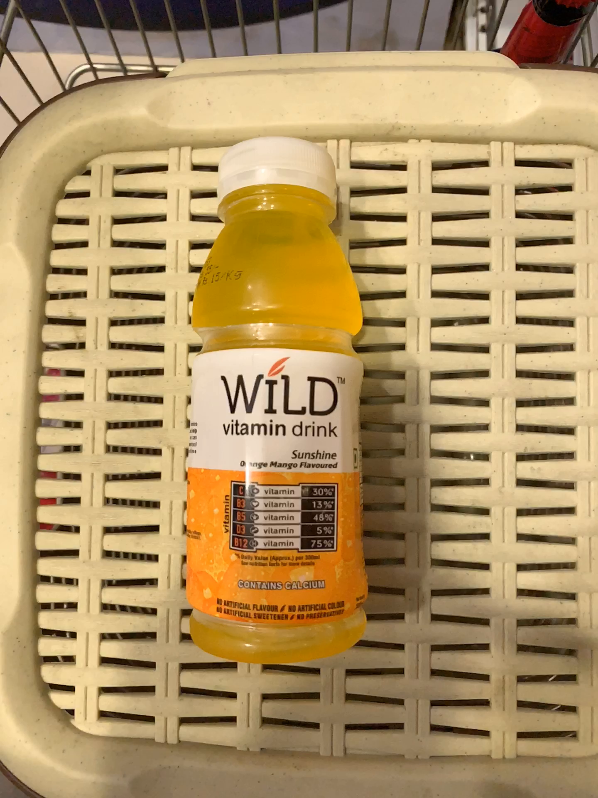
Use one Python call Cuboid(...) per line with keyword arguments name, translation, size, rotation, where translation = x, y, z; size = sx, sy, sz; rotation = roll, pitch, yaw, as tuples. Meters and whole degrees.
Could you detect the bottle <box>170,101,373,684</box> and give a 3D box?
Cuboid(name="bottle", translation=(-0.012, -0.002, 0.215), size=(0.060, 0.060, 0.170), rotation=(1, 88, -10))
